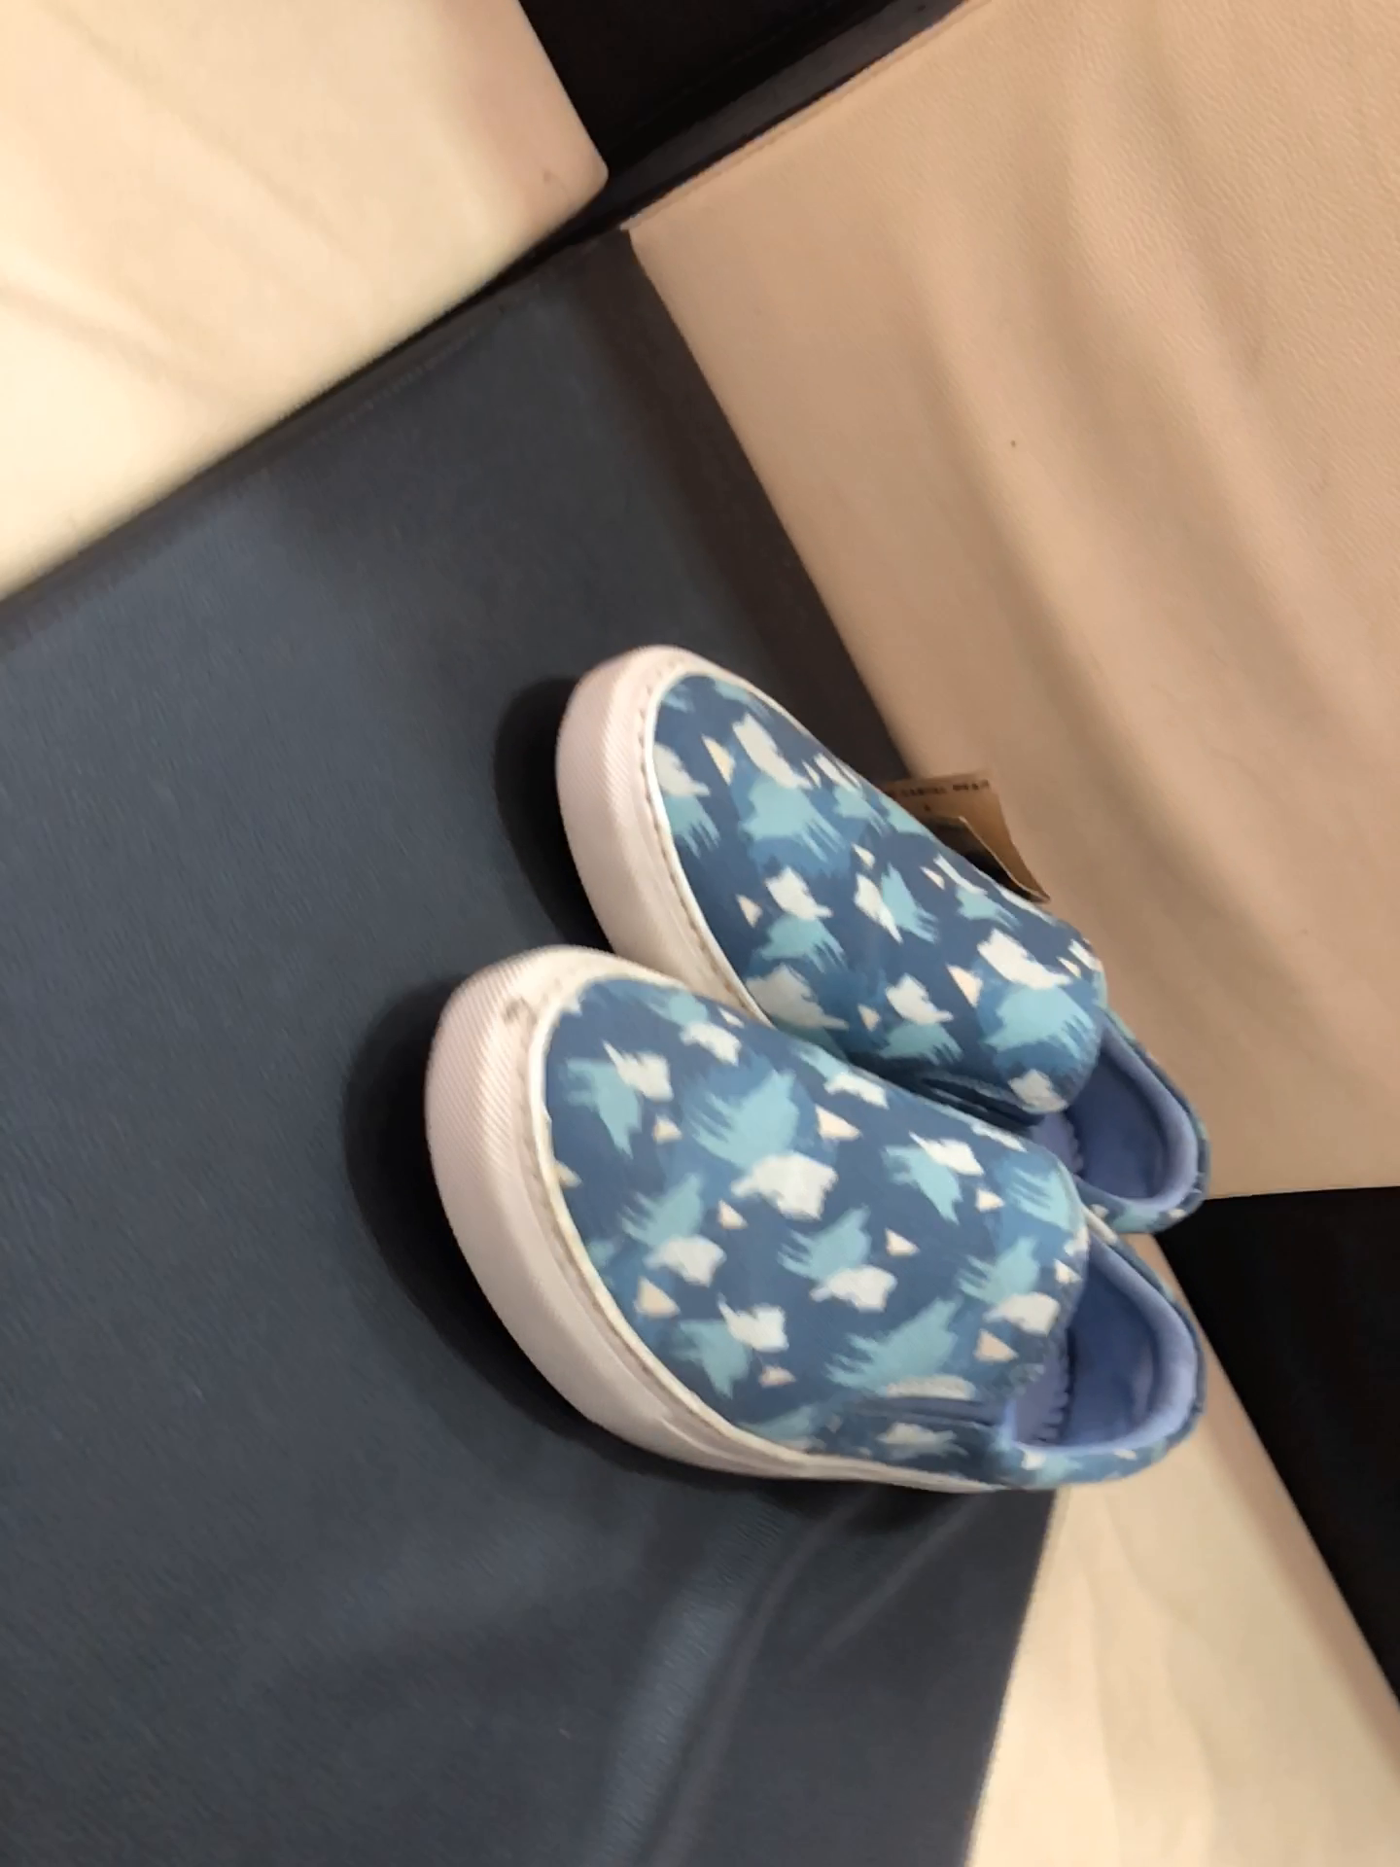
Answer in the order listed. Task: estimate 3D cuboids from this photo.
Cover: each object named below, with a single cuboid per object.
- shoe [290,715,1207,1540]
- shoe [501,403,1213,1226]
[{"bbox_3d":[0.041,0.076,0.424,0.282,0.089,0.120,36,52,-42],"label":"shoe"},{"bbox_3d":[0.070,-0.012,0.460,0.282,0.060,0.110,36,52,-42],"label":"shoe"}]
